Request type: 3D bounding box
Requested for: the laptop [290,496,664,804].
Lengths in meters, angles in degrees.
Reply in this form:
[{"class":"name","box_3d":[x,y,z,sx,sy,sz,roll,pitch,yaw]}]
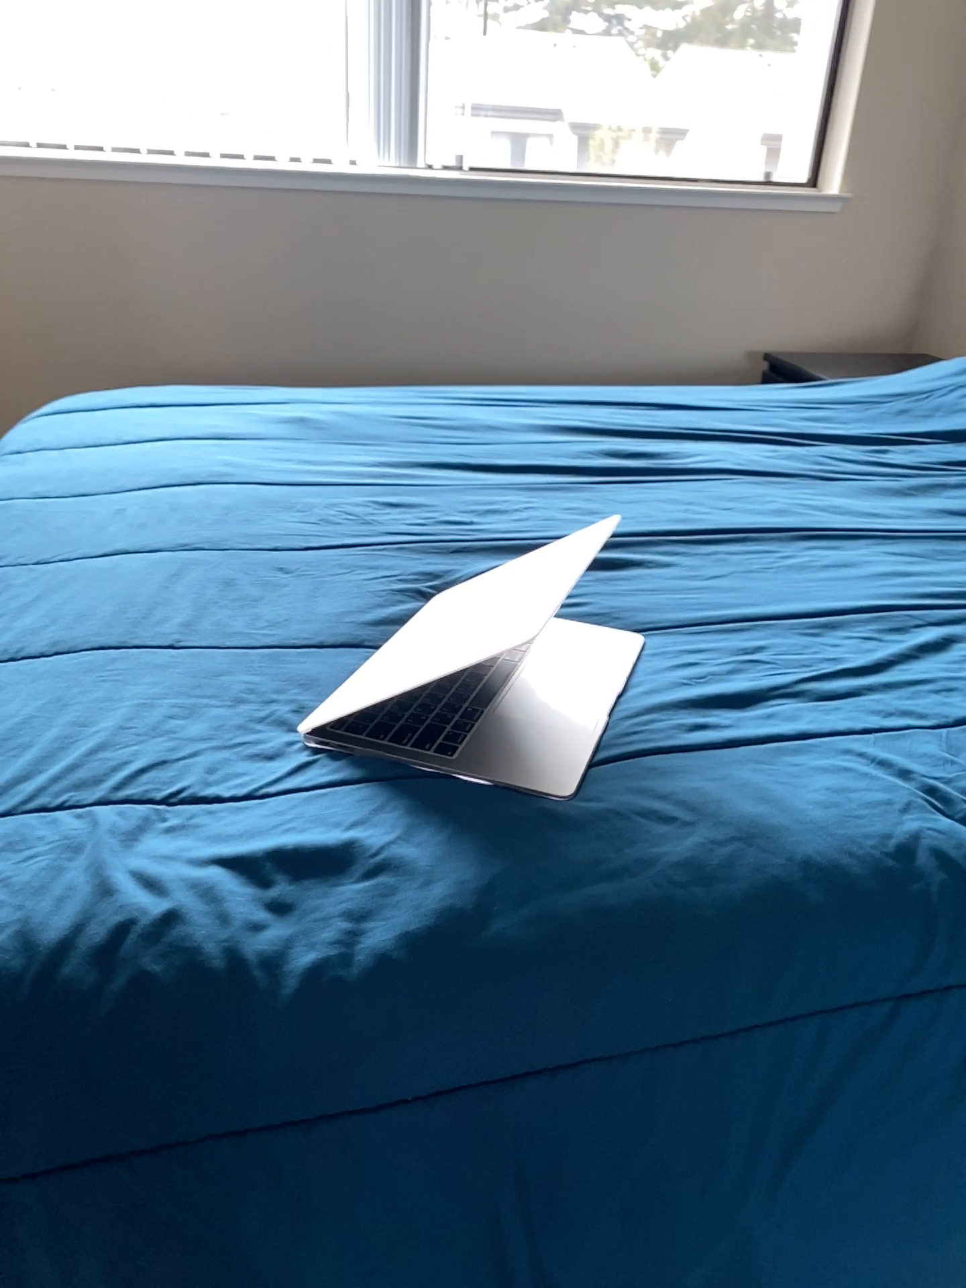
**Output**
[{"class":"laptop","box_3d":[0.013,-0.017,0.842,0.218,0.106,0.312,12,27,15]}]
